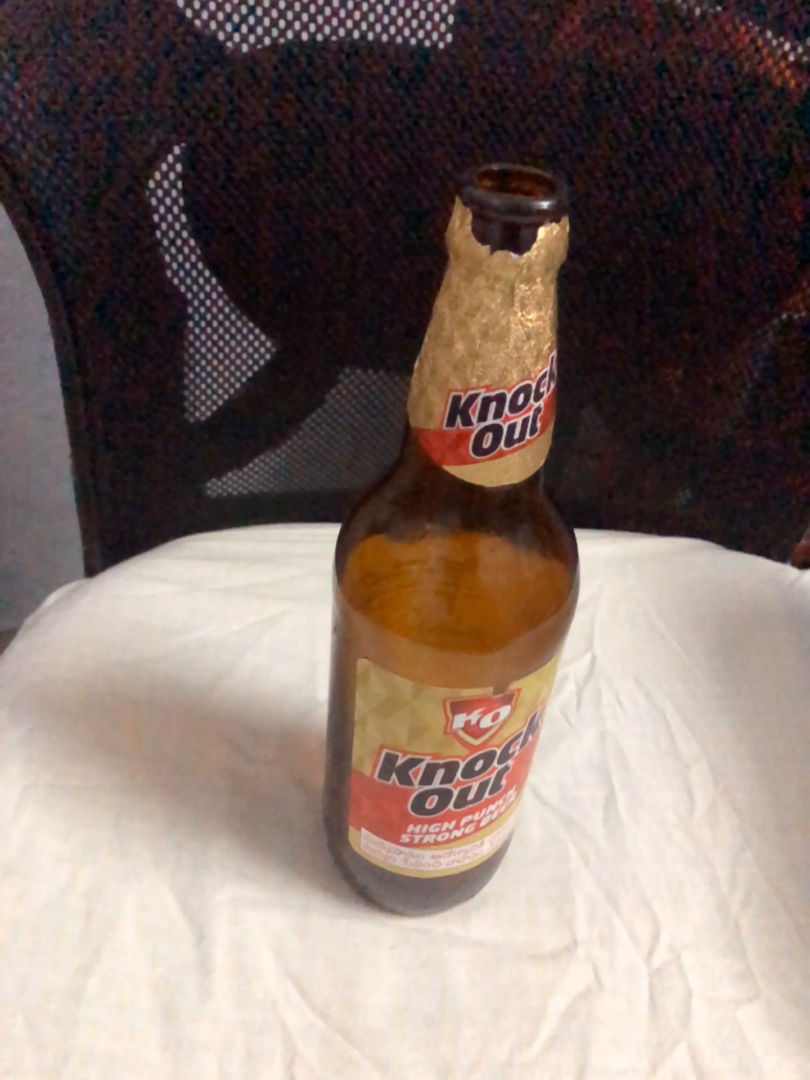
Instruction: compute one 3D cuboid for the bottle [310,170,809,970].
[{"bbox_3d":[0.025,0.029,0.270,0.080,0.249,0.070,-8,44,-19],"label":"bottle"}]
